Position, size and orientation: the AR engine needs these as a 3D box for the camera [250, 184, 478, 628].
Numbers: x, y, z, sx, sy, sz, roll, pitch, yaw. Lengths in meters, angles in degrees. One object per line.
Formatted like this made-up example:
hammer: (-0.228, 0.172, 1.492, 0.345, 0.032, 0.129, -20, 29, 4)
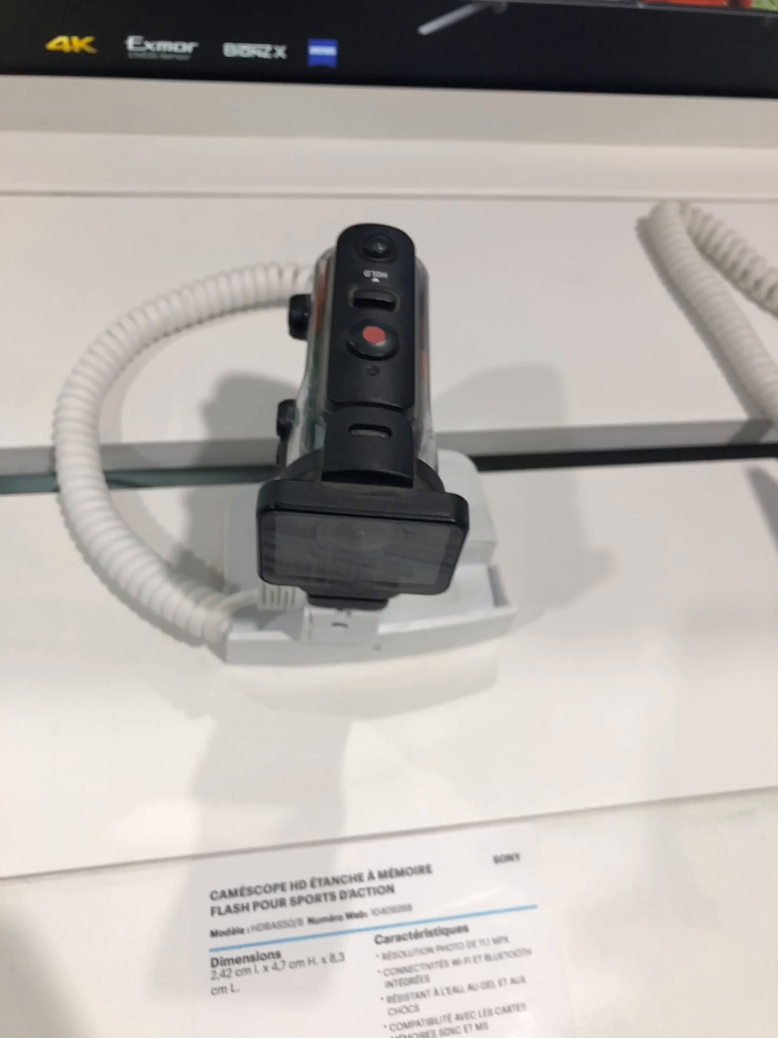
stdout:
camera: (-0.008, -0.025, 0.220, 0.045, 0.064, 0.088, 4, 67, -6)
